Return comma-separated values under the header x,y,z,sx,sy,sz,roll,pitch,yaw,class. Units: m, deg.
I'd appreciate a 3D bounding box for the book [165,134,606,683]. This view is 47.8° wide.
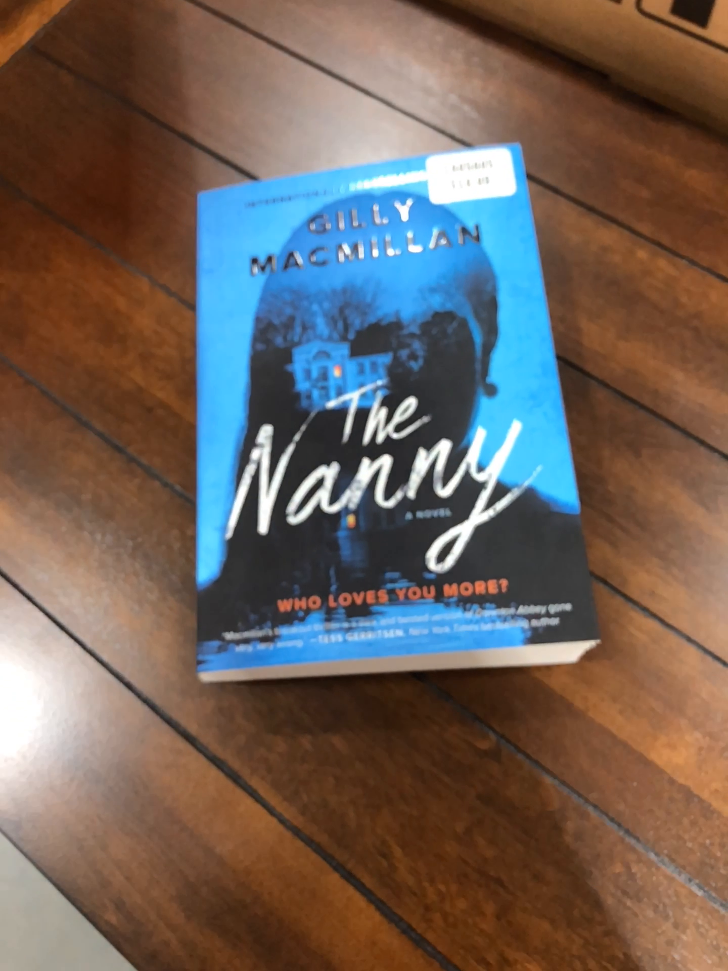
x,y,z,sx,sy,sz,roll,pitch,yaw,class
0.005,-0.038,0.358,0.160,0.040,0.230,-5,67,8,book
